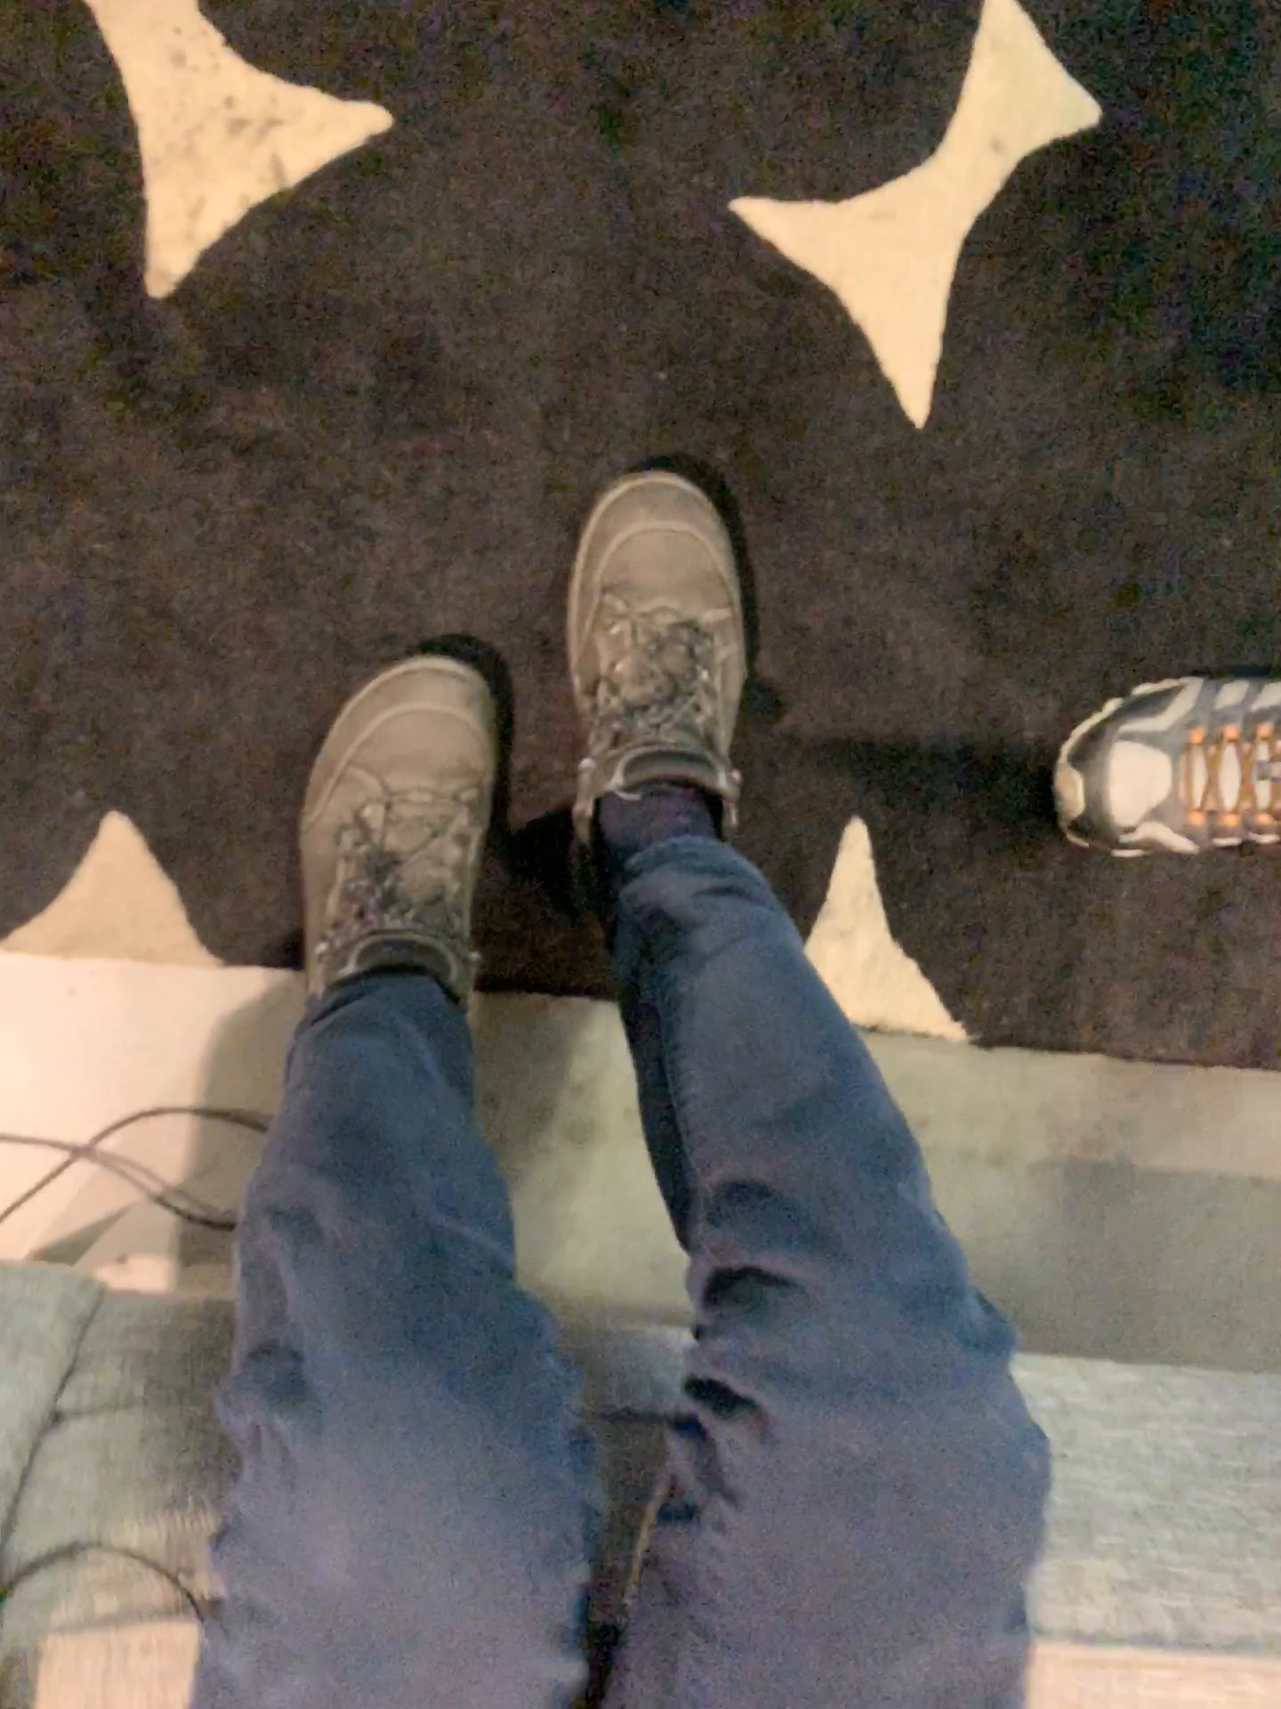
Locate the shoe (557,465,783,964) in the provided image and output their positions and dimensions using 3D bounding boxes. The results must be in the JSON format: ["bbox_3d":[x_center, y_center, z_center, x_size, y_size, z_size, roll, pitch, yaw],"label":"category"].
[{"bbox_3d":[0.015,-0.085,0.807,0.121,0.077,0.287,-2,103,-8],"label":"shoe"}]

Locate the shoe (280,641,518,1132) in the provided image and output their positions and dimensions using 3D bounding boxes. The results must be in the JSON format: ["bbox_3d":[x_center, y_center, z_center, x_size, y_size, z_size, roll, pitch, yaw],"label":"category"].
[{"bbox_3d":[-0.149,0.020,0.812,0.119,0.077,0.285,4,102,-10],"label":"shoe"}]
